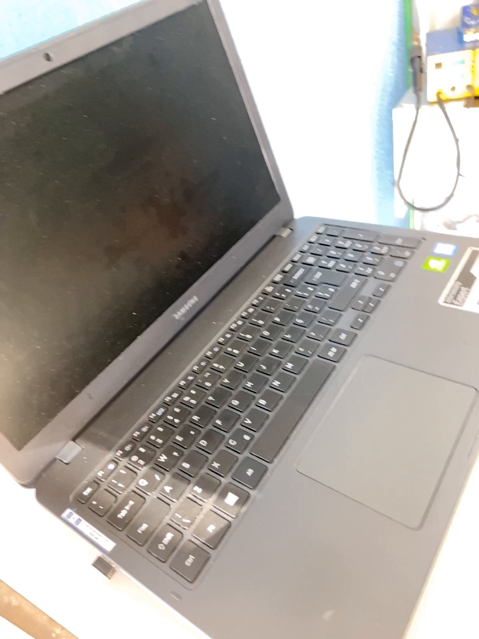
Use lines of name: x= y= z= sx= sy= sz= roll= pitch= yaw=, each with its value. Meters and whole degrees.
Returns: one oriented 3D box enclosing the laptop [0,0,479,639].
laptop: x=0.010 y=-0.061 z=0.320 sx=0.287 sy=0.232 sz=0.372 roll=16 pitch=49 yaw=35
